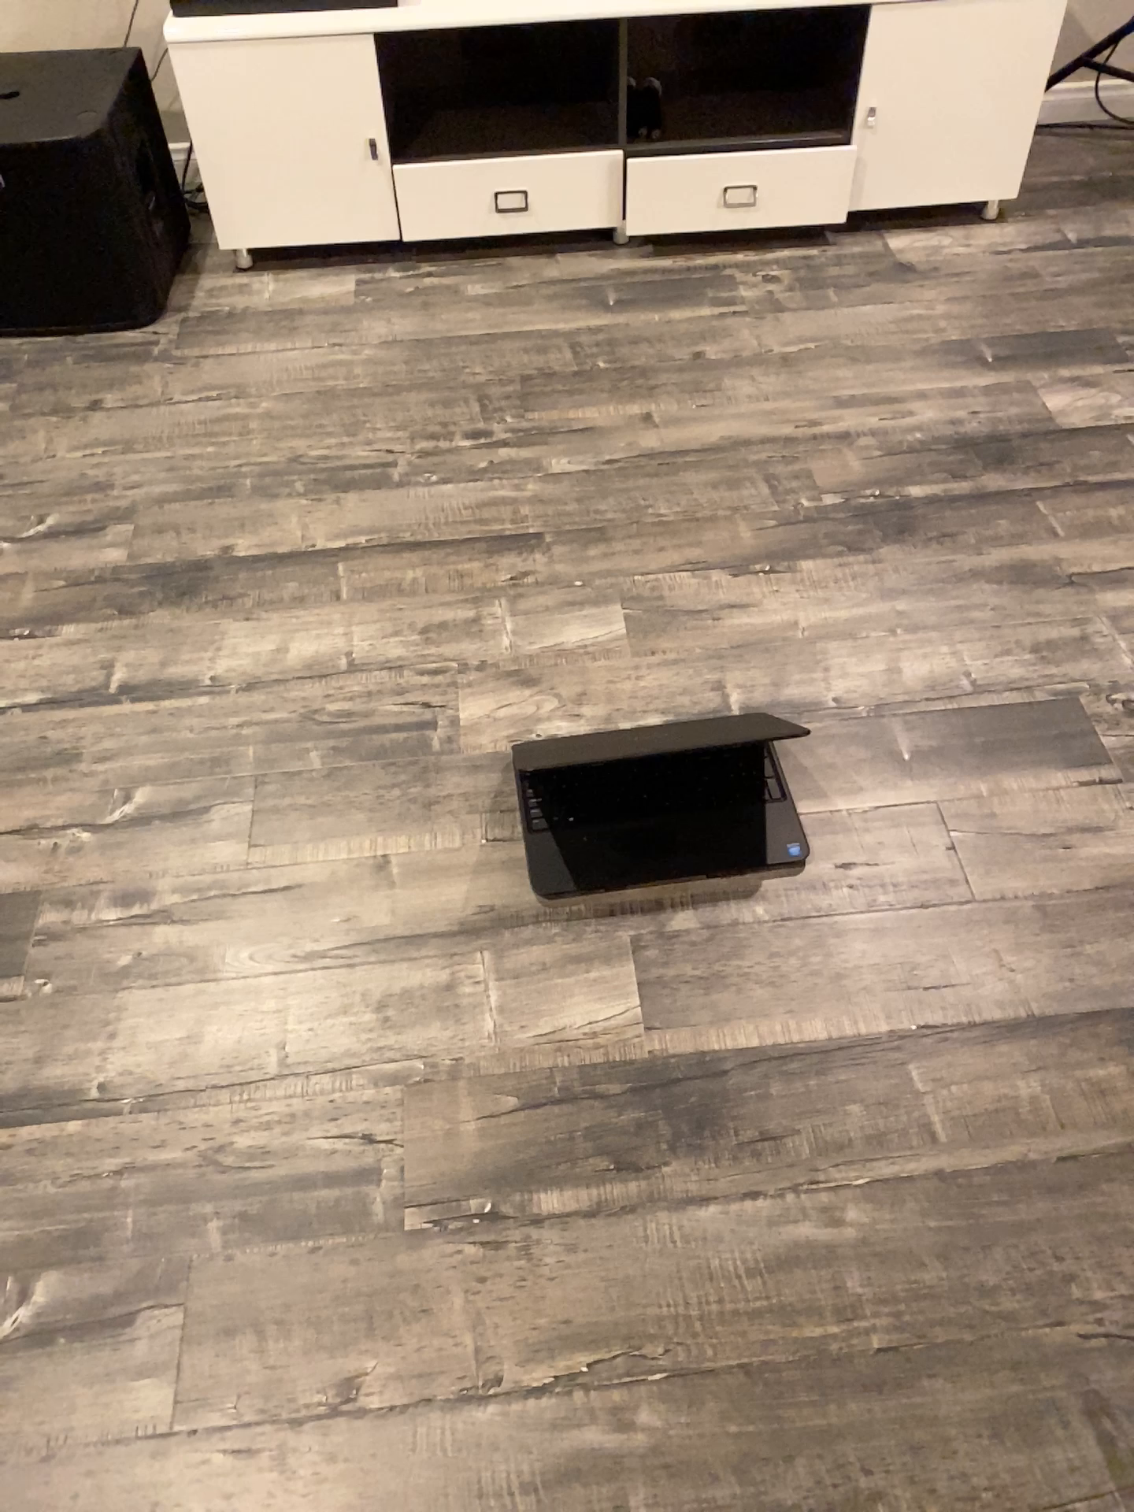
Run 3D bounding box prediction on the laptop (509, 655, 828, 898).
[{"bbox_3d":[0.119,0.023,1.505,0.352,0.170,0.231,-7,48,-5],"label":"laptop"}]
